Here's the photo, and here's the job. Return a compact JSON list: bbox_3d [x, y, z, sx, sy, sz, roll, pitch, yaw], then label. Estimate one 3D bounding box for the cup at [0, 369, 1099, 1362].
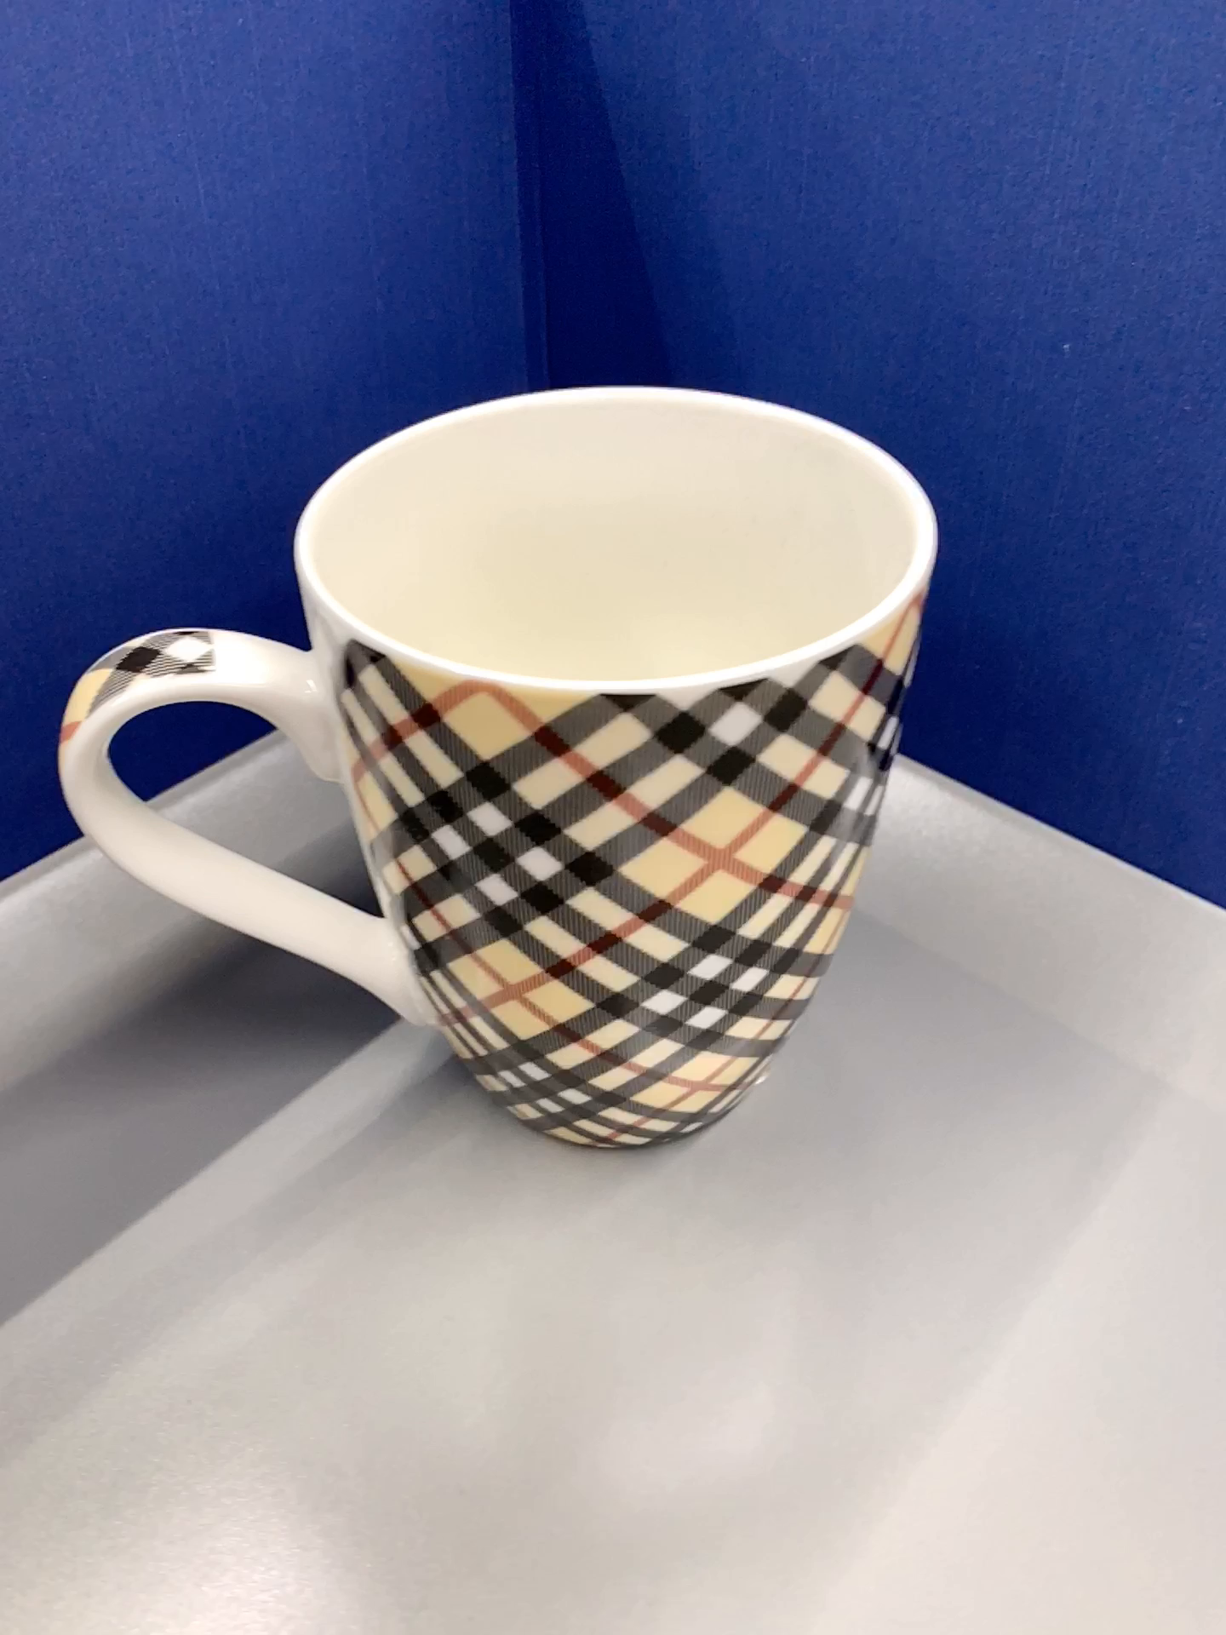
[{"bbox_3d":[-0.015,0.003,0.195,0.120,0.104,0.091,-6,38,-8],"label":"cup"}]
